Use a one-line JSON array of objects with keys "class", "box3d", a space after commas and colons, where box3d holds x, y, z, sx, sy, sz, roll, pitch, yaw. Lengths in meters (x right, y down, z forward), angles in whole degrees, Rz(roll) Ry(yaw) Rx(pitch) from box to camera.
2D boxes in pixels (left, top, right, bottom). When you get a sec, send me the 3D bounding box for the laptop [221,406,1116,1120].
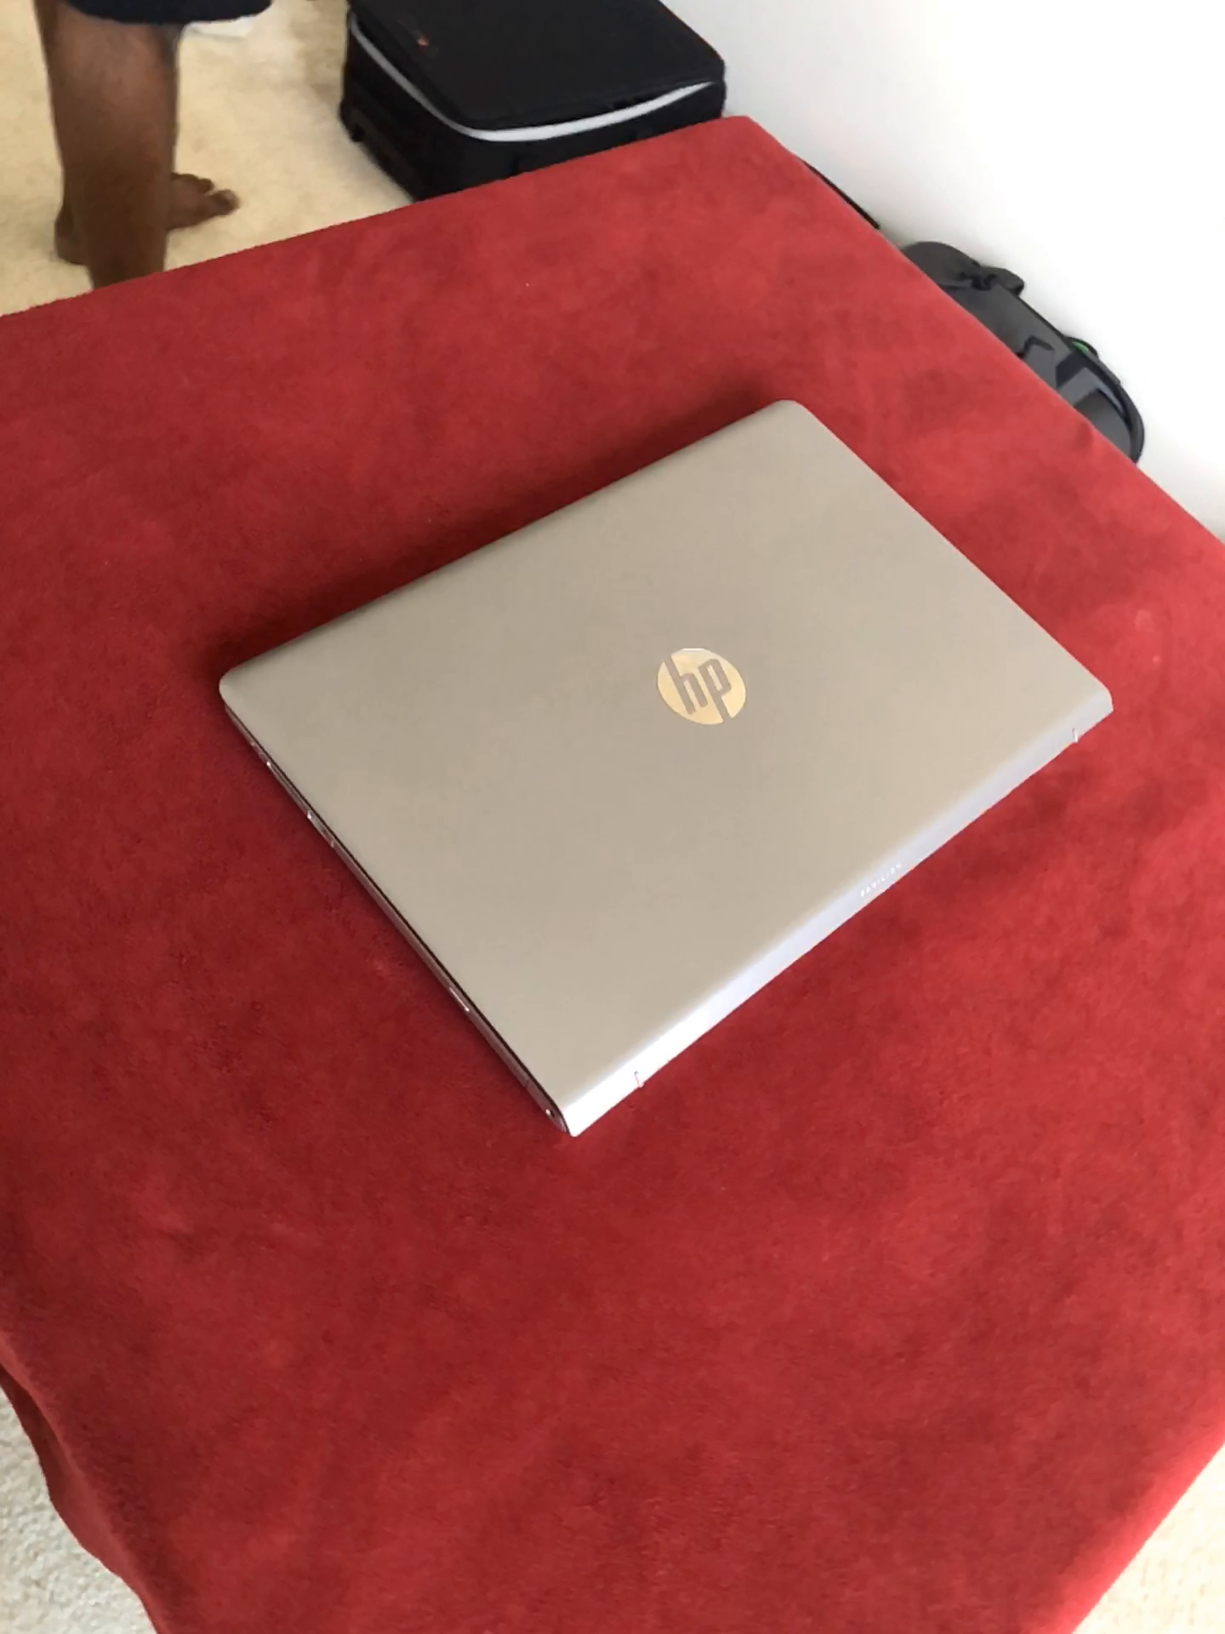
[{"class": "laptop", "box3d": [0.044, -0.058, 0.637, 0.372, 0.006, 0.234, -33, 70, -29]}]
